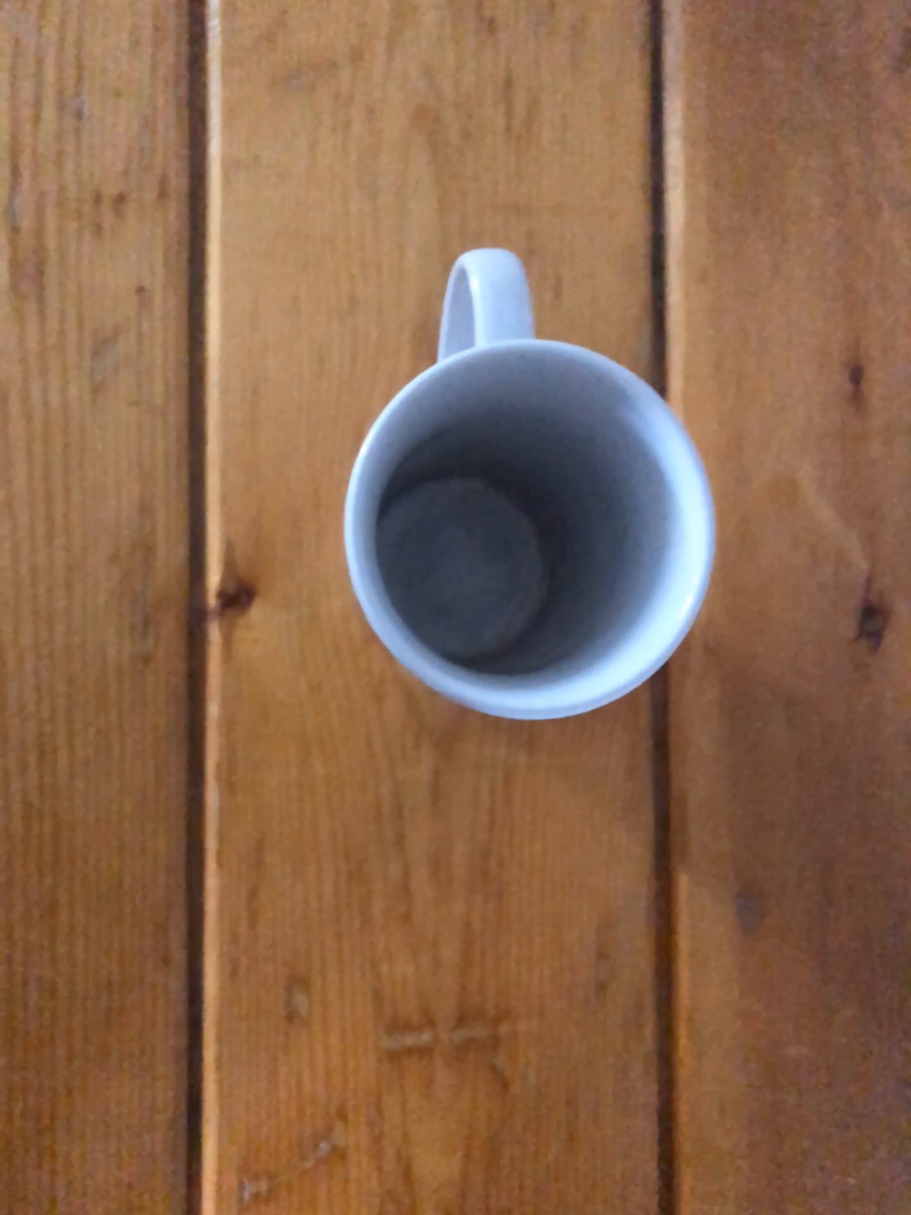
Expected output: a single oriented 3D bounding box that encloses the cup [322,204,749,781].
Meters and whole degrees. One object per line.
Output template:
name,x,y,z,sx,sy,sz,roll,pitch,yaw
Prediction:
cup,0.012,-0.027,0.299,0.090,0.120,0.130,-5,89,-8
